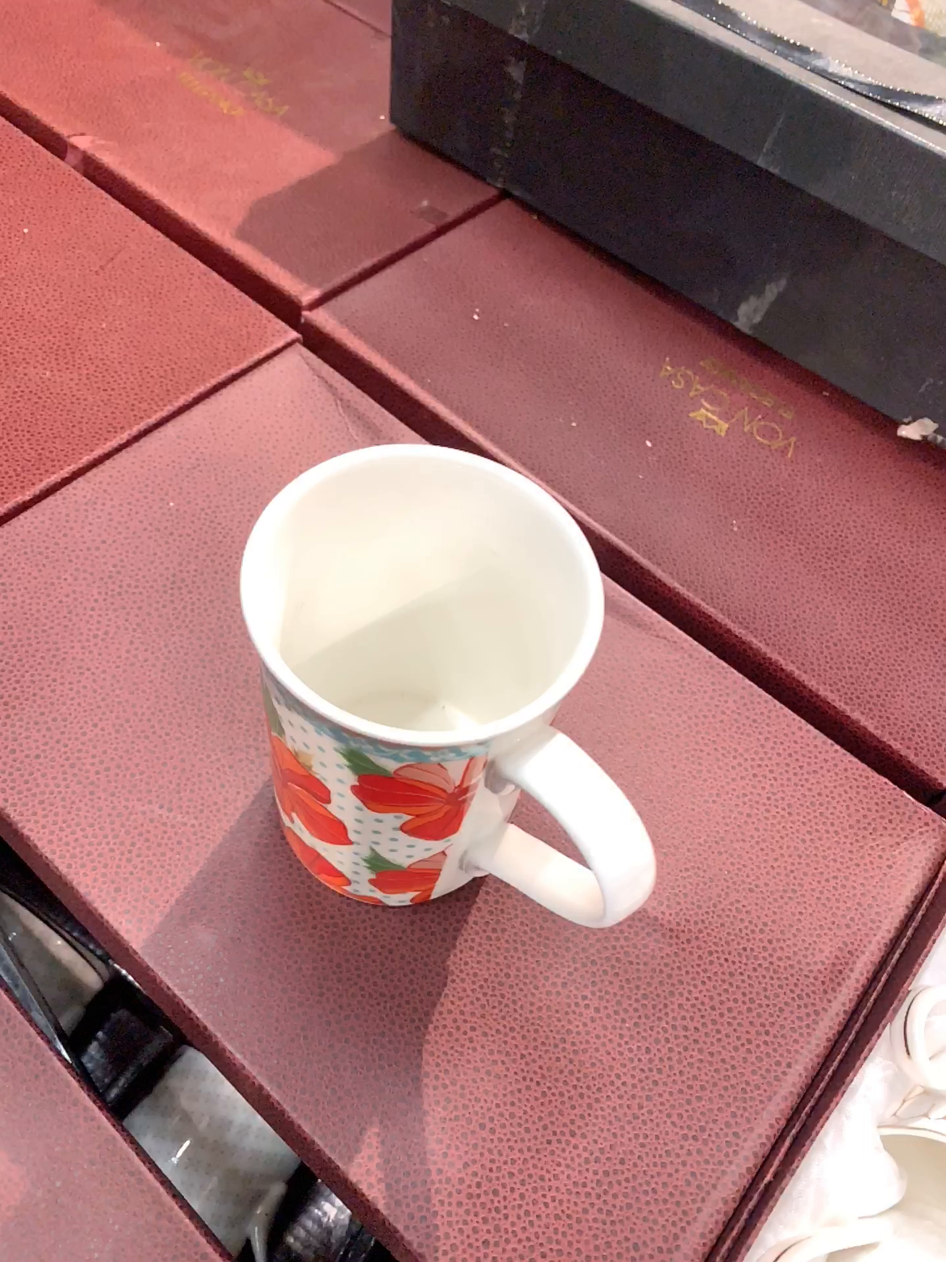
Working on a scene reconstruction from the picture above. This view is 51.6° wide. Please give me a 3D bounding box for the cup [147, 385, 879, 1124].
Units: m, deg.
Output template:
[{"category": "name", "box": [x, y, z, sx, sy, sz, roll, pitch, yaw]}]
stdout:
[{"category": "cup", "box": [0.001, 0.033, 0.235, 0.120, 0.110, 0.080, 40, 60, 17]}]
